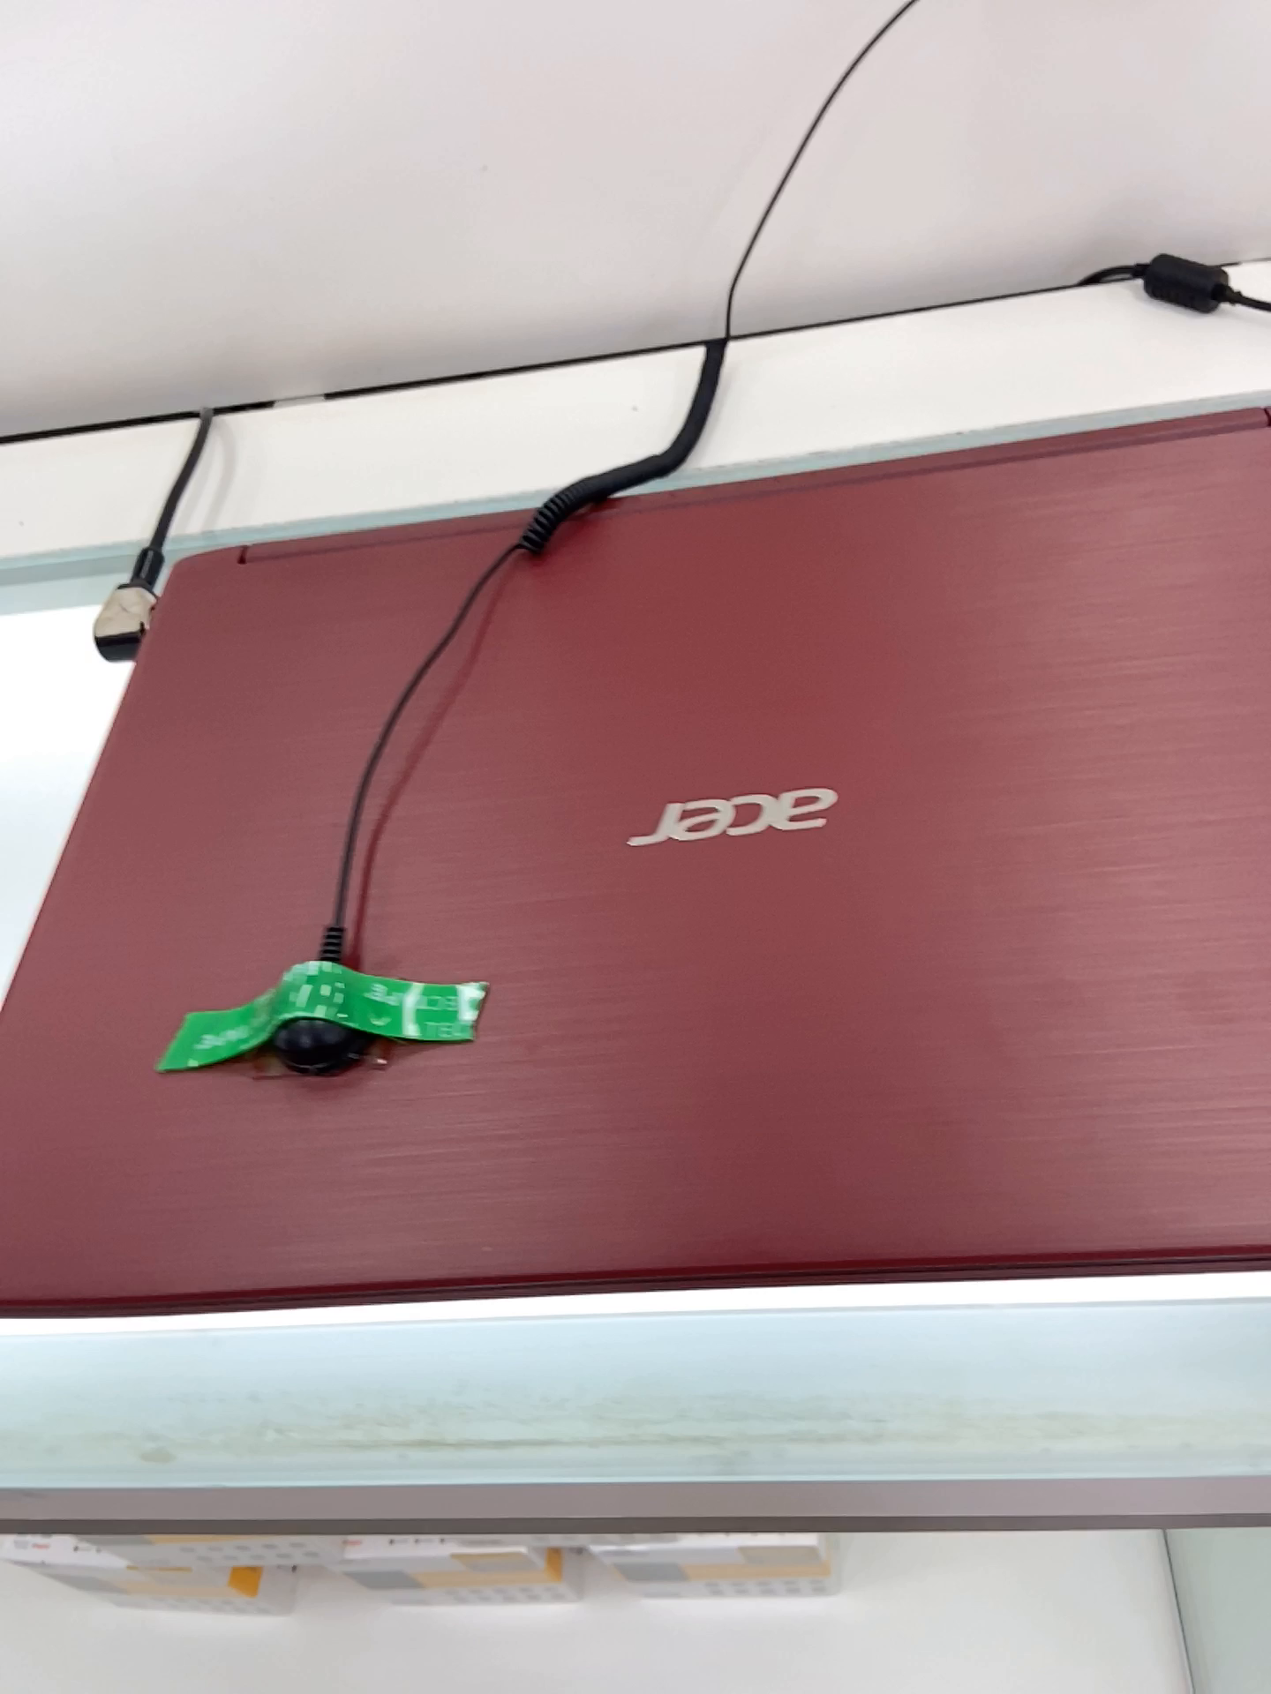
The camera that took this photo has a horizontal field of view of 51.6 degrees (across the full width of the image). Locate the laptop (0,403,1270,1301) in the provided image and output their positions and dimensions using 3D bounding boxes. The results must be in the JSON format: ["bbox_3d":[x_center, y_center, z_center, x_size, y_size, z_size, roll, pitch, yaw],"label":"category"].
[{"bbox_3d":[0.023,-0.017,0.347,0.367,0.006,0.263,-5,49,9],"label":"laptop"}]
